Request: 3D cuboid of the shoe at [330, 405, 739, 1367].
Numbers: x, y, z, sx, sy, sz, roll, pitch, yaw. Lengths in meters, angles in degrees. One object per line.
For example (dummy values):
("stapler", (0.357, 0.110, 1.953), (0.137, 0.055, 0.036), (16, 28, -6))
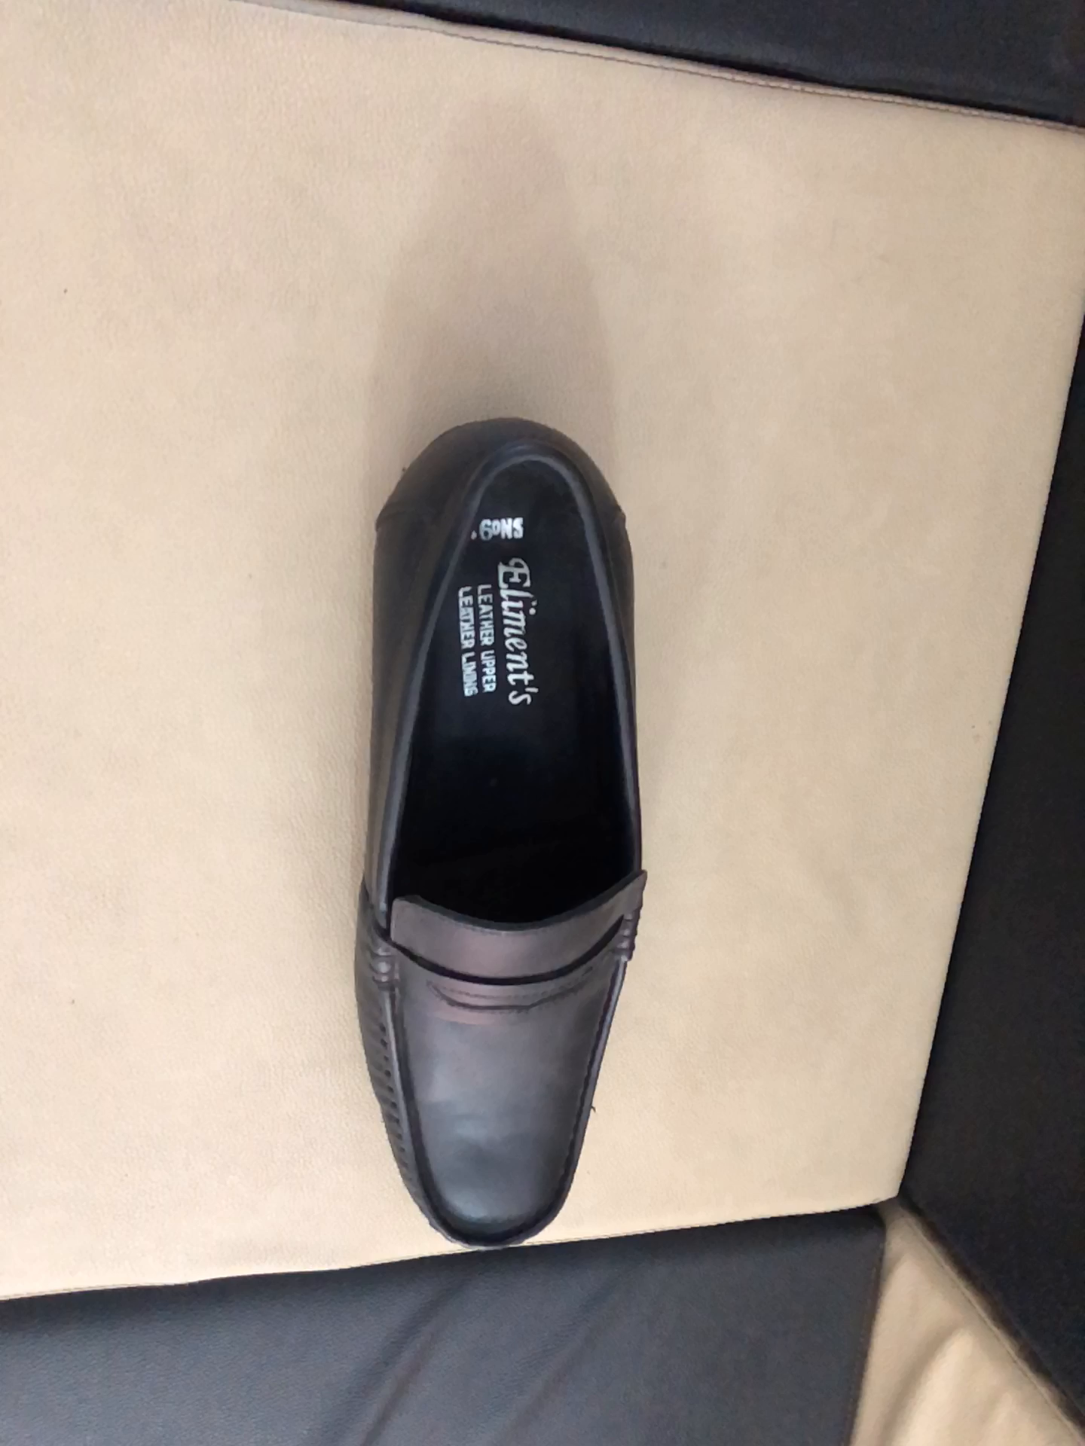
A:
("shoe", (-0.013, 0.051, 0.387), (0.100, 0.080, 0.291), (-1, 106, -14))
